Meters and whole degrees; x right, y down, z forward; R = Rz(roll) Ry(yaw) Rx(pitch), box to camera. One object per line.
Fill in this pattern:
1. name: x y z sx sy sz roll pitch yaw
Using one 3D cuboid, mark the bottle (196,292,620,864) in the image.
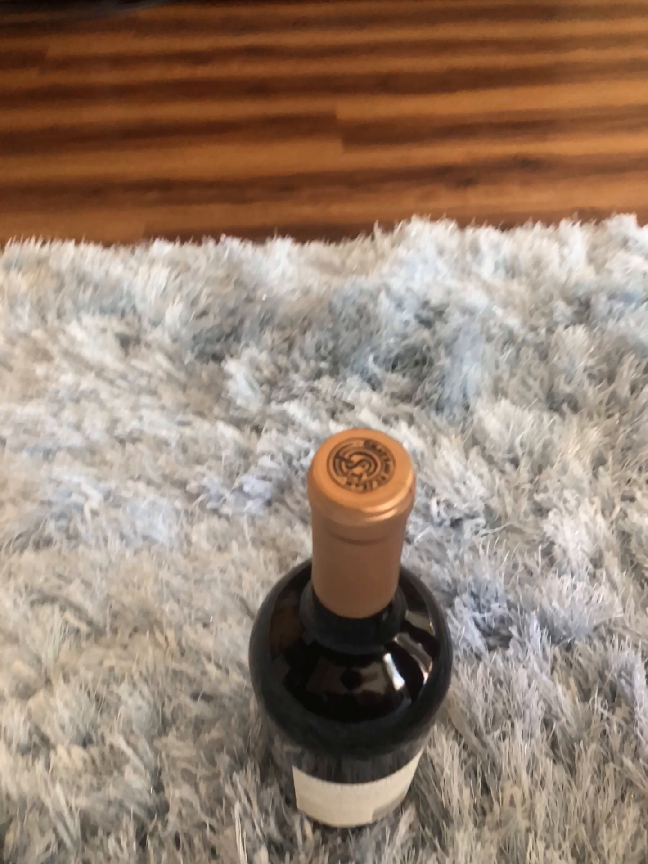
1. bottle: 0.019 0.098 0.304 0.090 0.299 0.090 -1 46 1
